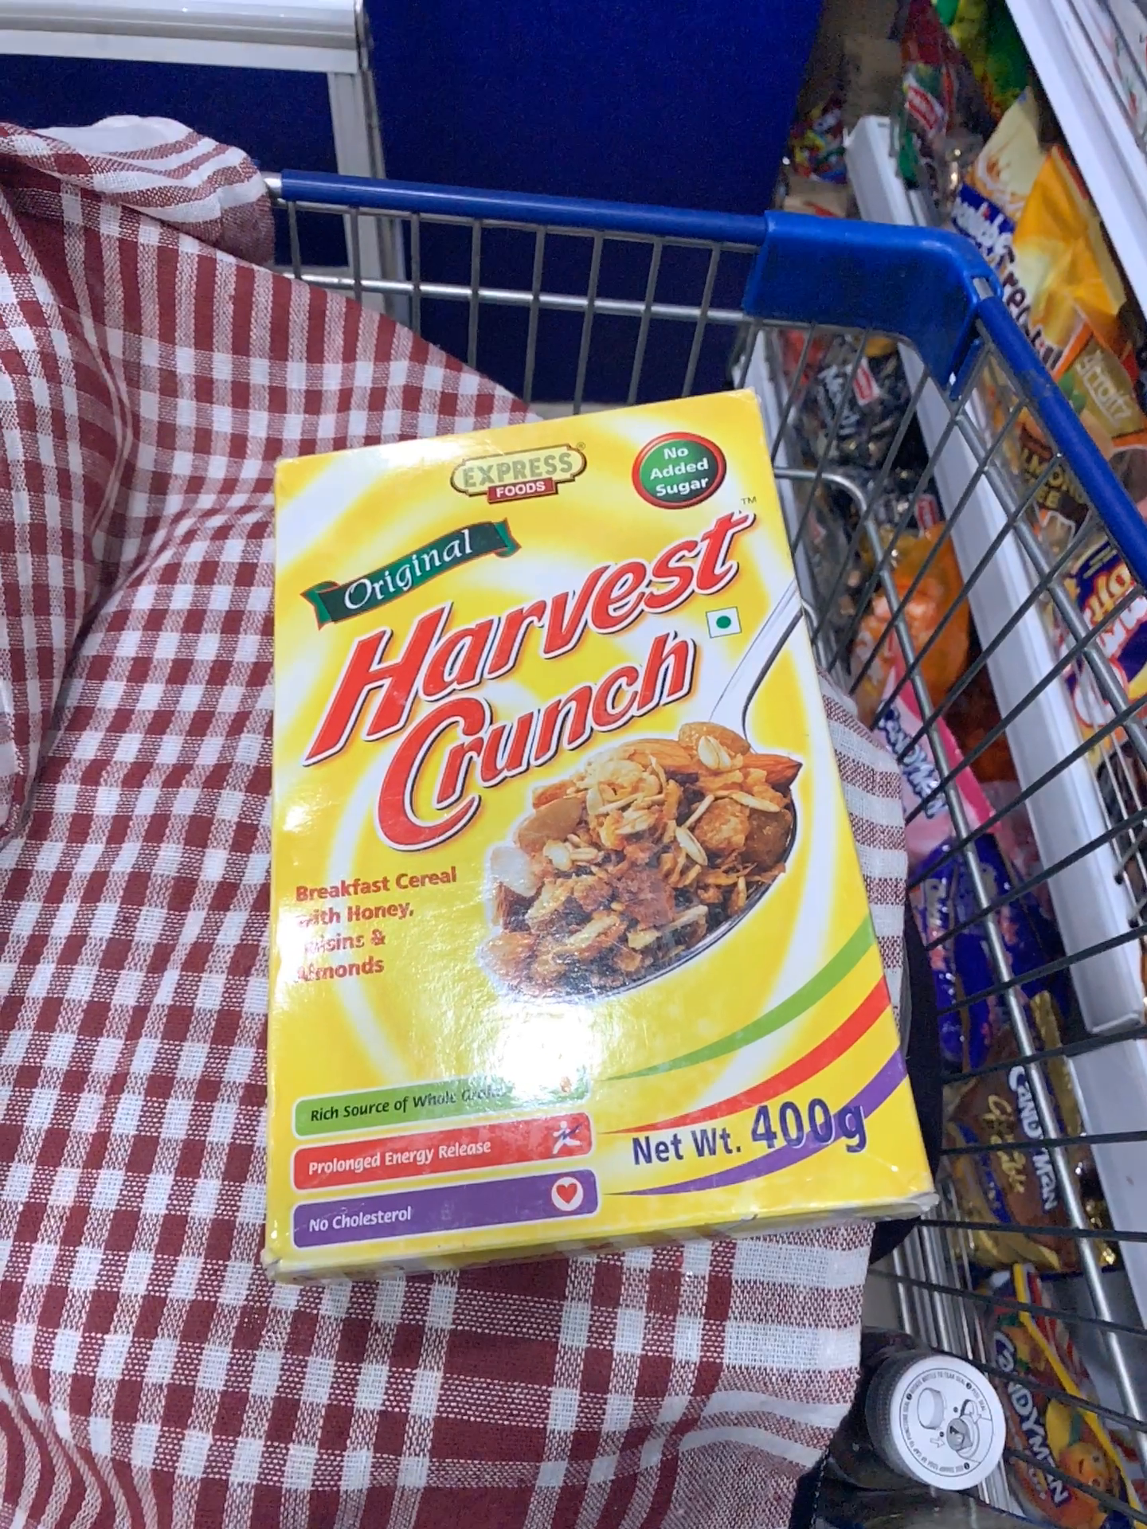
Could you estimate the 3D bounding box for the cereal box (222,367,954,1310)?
[{"bbox_3d":[-0.006,0.012,0.306,0.150,0.050,0.220,-8,66,5],"label":"cereal box"}]
